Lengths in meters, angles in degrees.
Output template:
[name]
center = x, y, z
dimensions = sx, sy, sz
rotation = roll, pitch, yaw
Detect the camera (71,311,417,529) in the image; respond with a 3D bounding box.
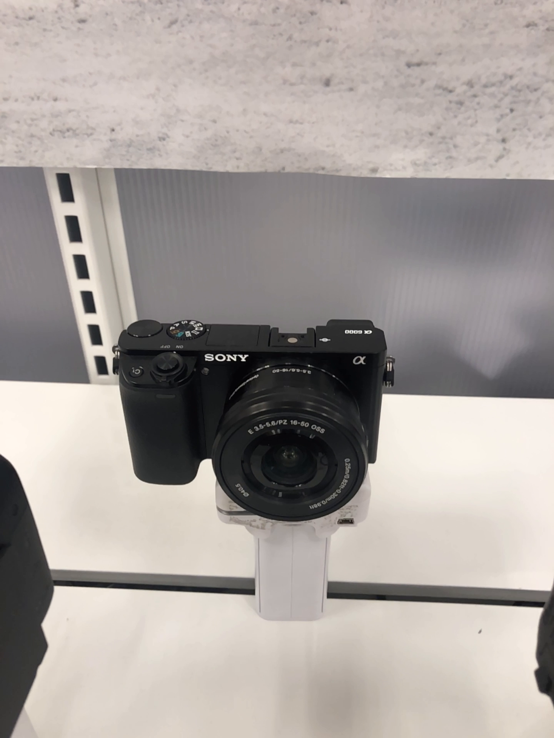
[camera]
center = -0.011, 0.019, 0.257
dimensions = 0.120, 0.058, 0.068
rotation = 1, 35, 1
